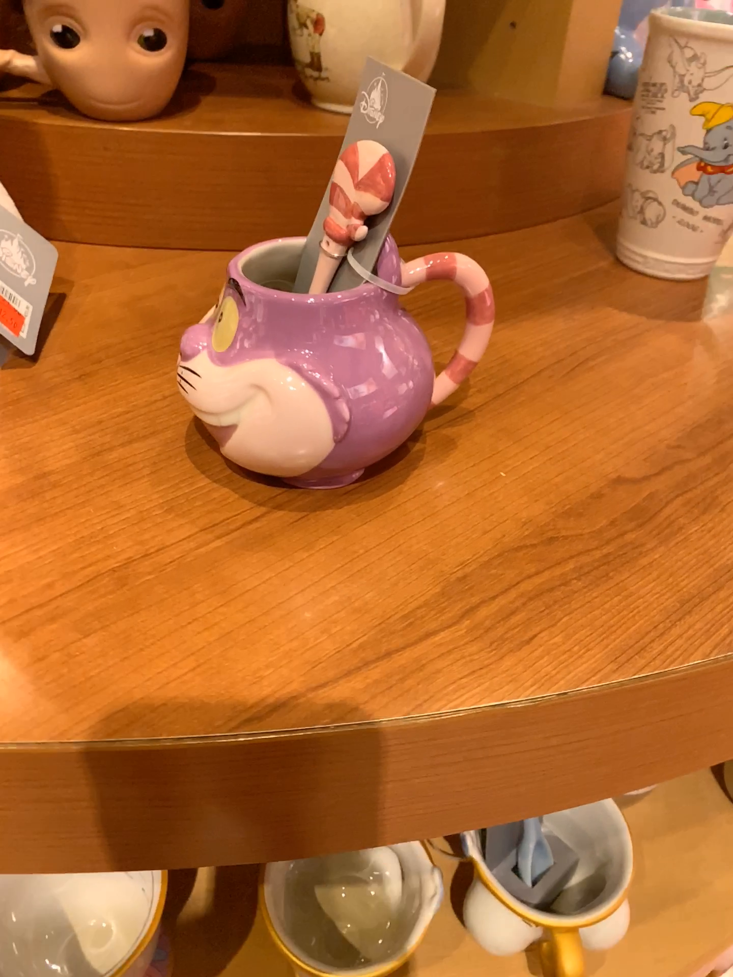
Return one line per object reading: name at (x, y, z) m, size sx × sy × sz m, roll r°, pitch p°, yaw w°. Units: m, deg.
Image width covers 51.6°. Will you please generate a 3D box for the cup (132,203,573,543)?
cup at (-0.009, -0.061, 0.334) m, size 0.142 × 0.077 × 0.115 m, roll -19°, pitch 43°, yaw -27°
